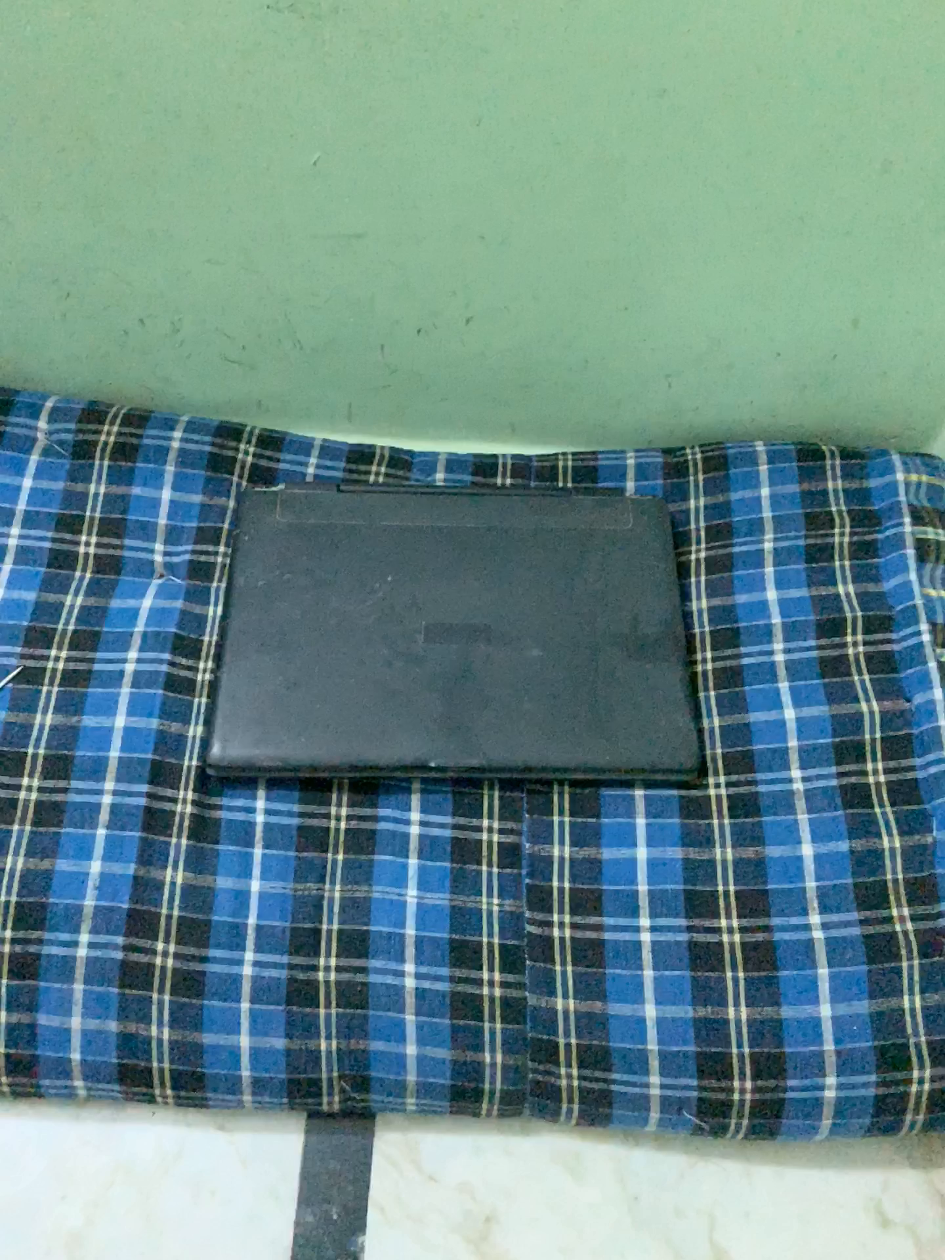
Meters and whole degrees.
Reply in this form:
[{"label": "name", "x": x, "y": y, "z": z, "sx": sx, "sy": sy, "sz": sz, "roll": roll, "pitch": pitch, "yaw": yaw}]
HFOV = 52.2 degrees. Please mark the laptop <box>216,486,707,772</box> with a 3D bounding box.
[{"label": "laptop", "x": -0.005, "y": -0.007, "z": 0.687, "sx": 0.323, "sy": 0.005, "sz": 0.216, "roll": 2, "pitch": 62, "yaw": -2}]
